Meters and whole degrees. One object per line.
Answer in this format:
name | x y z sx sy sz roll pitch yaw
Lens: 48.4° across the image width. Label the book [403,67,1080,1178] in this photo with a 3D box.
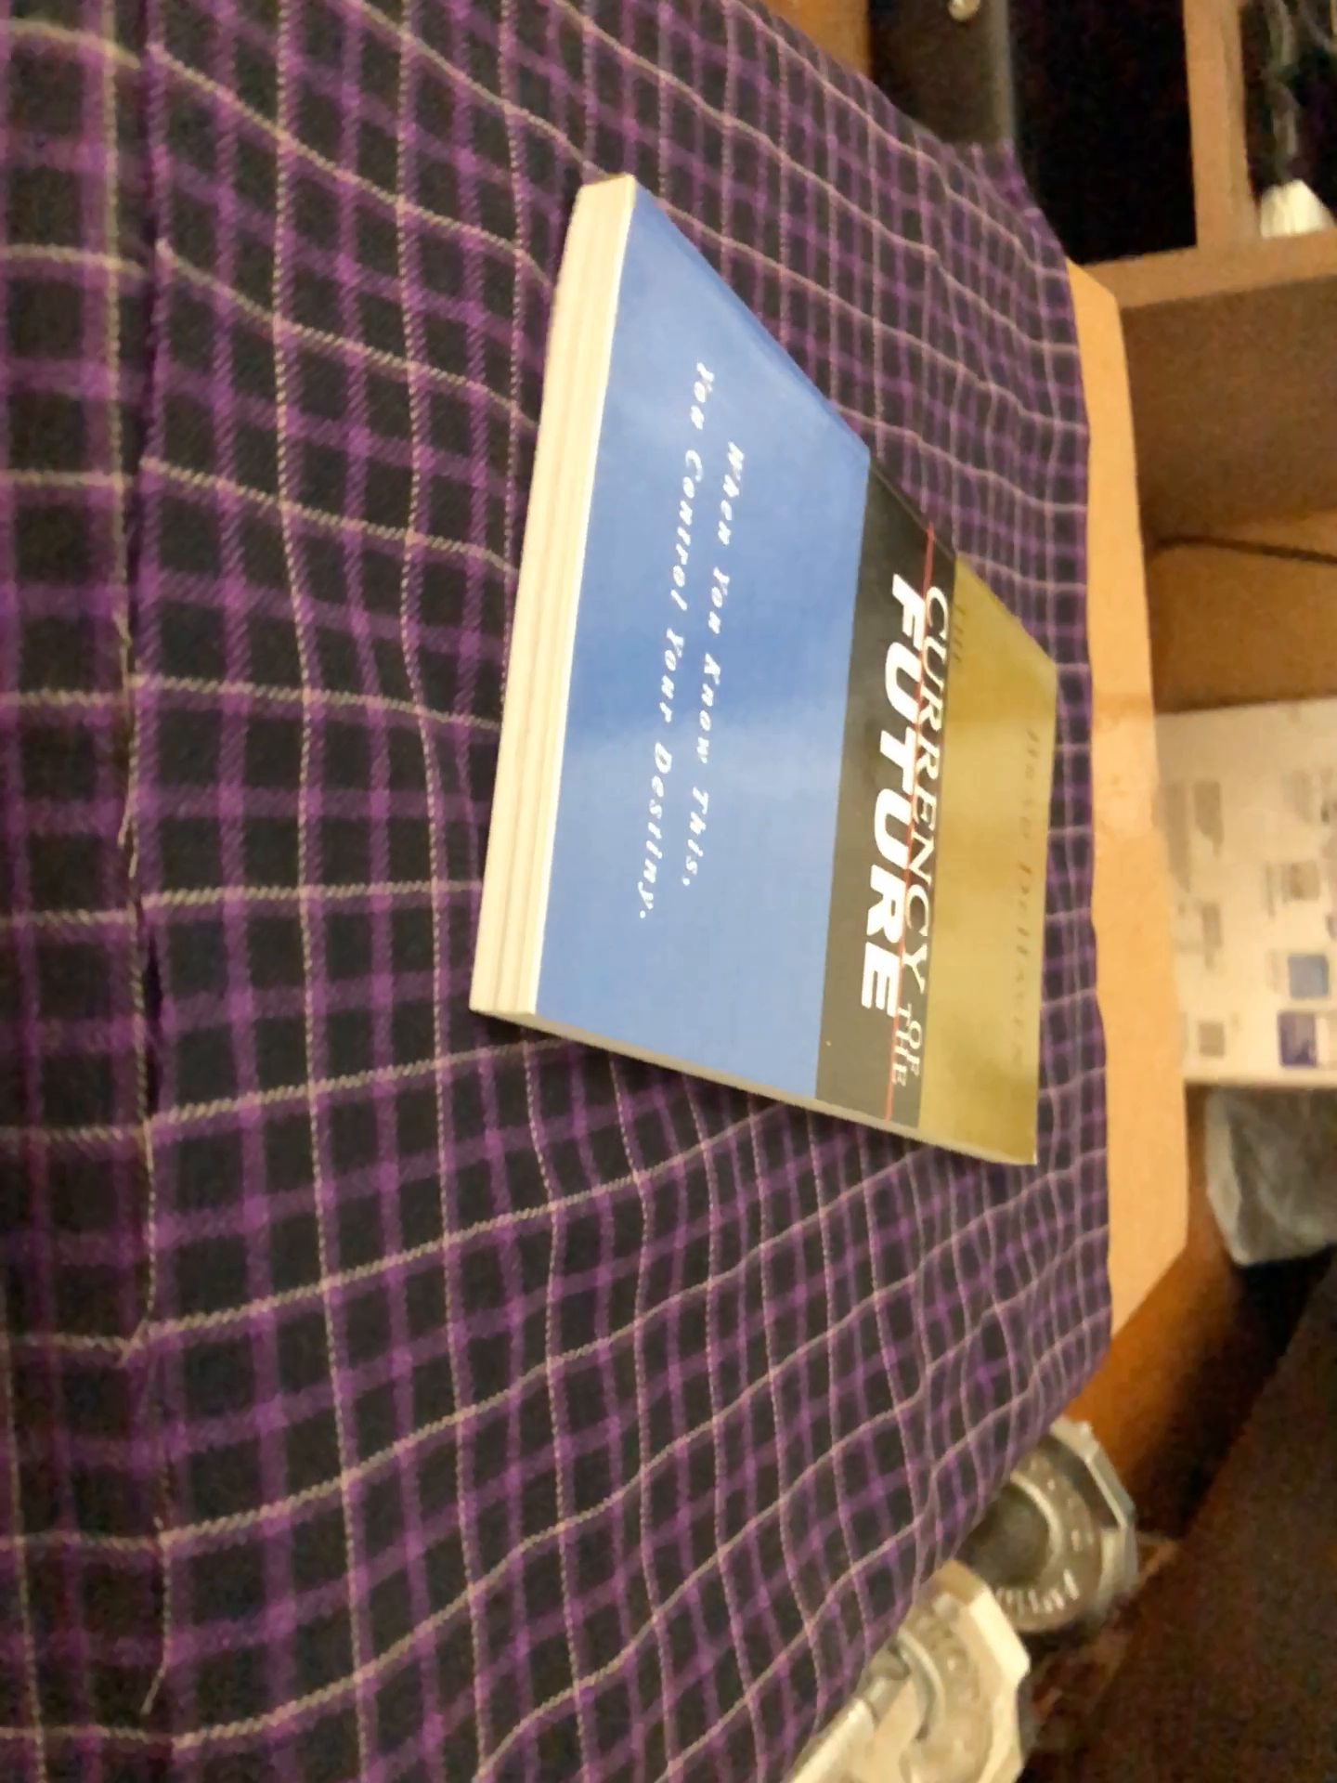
book | 0.038 -0.027 0.307 0.221 0.020 0.150 25 67 -54
